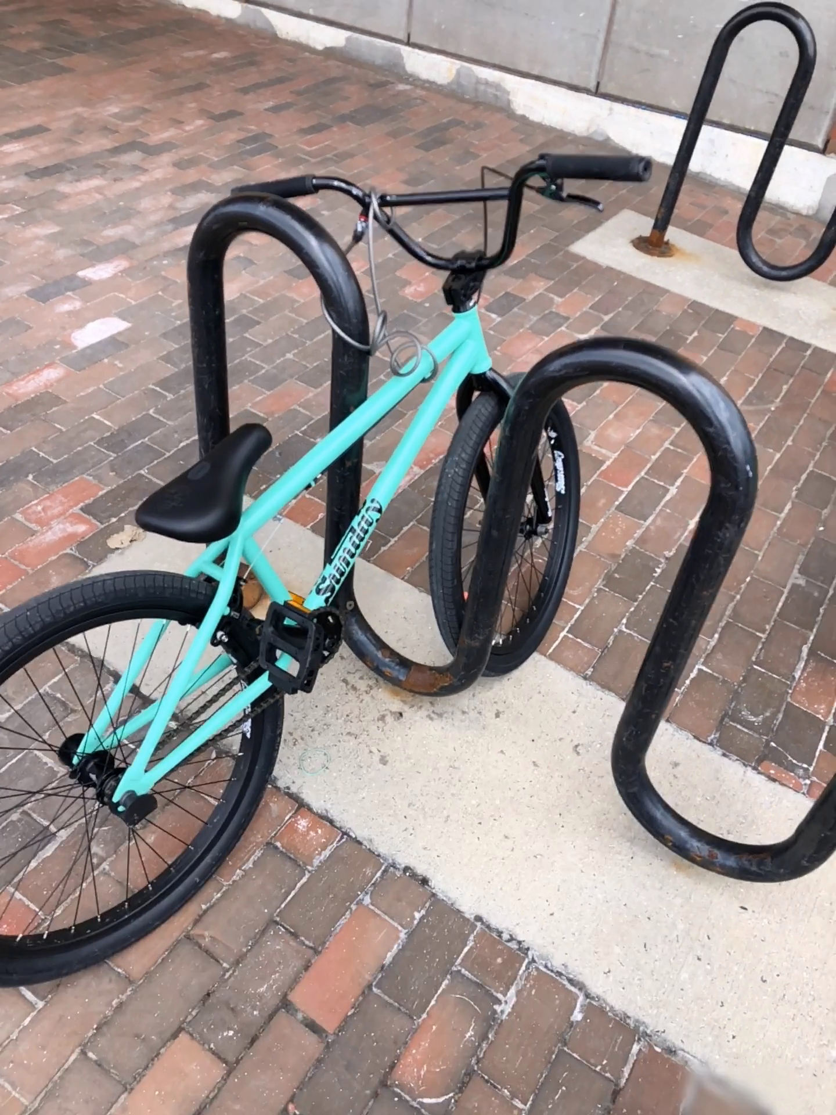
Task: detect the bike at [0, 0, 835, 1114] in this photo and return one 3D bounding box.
[{"bbox_3d":[-0.153,-0.103,1.383,0.811,1.067,1.469,32,49,25],"label":"bike"}]
